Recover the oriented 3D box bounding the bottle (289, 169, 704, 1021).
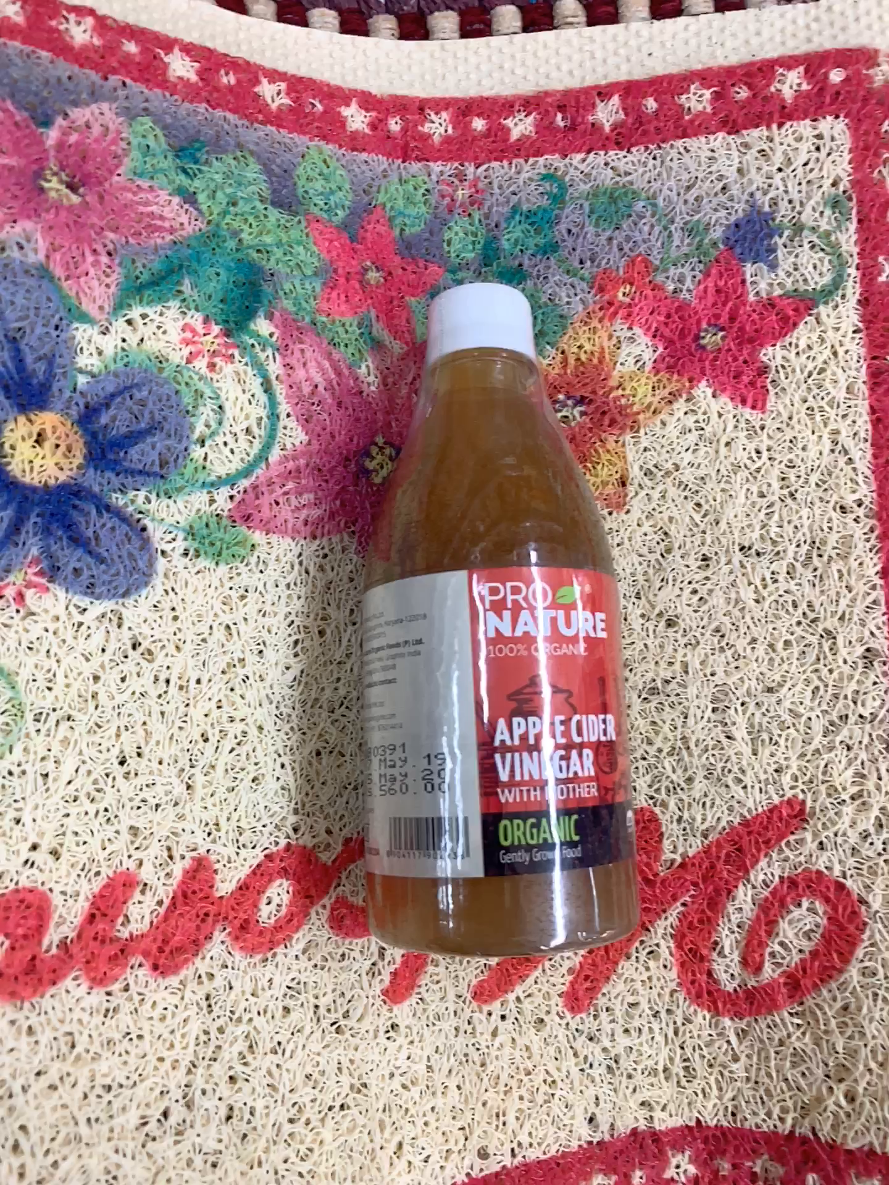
[{"bbox_3d":[0.012,0.001,0.213,0.080,0.050,0.160,2,87,-28],"label":"bottle"}]
